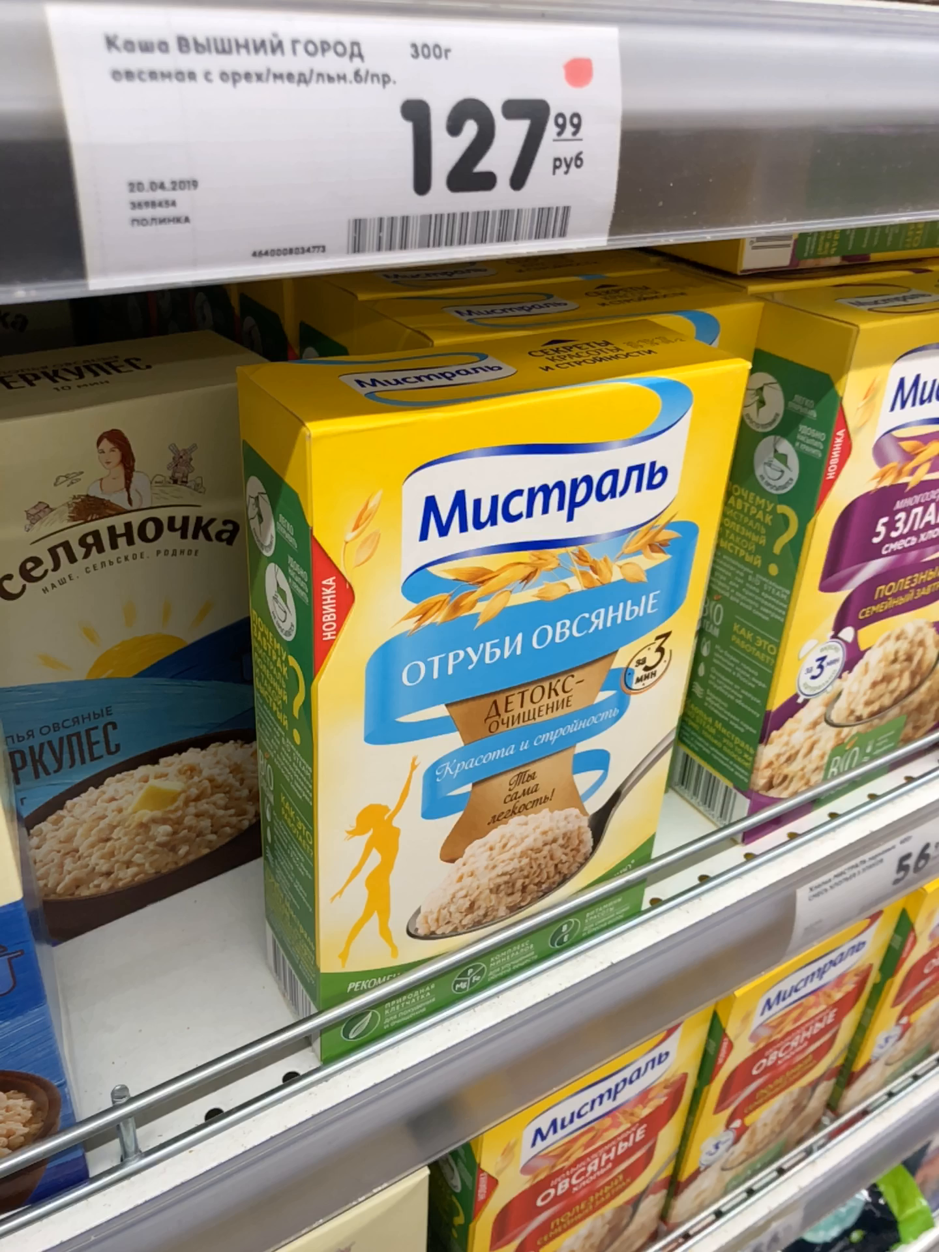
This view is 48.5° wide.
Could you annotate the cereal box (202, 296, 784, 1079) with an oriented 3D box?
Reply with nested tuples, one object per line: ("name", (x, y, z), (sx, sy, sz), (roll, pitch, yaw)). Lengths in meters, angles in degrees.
("cereal box", (0.005, 0.020, 0.313), (0.140, 0.209, 0.050), (-15, 36, -28))
